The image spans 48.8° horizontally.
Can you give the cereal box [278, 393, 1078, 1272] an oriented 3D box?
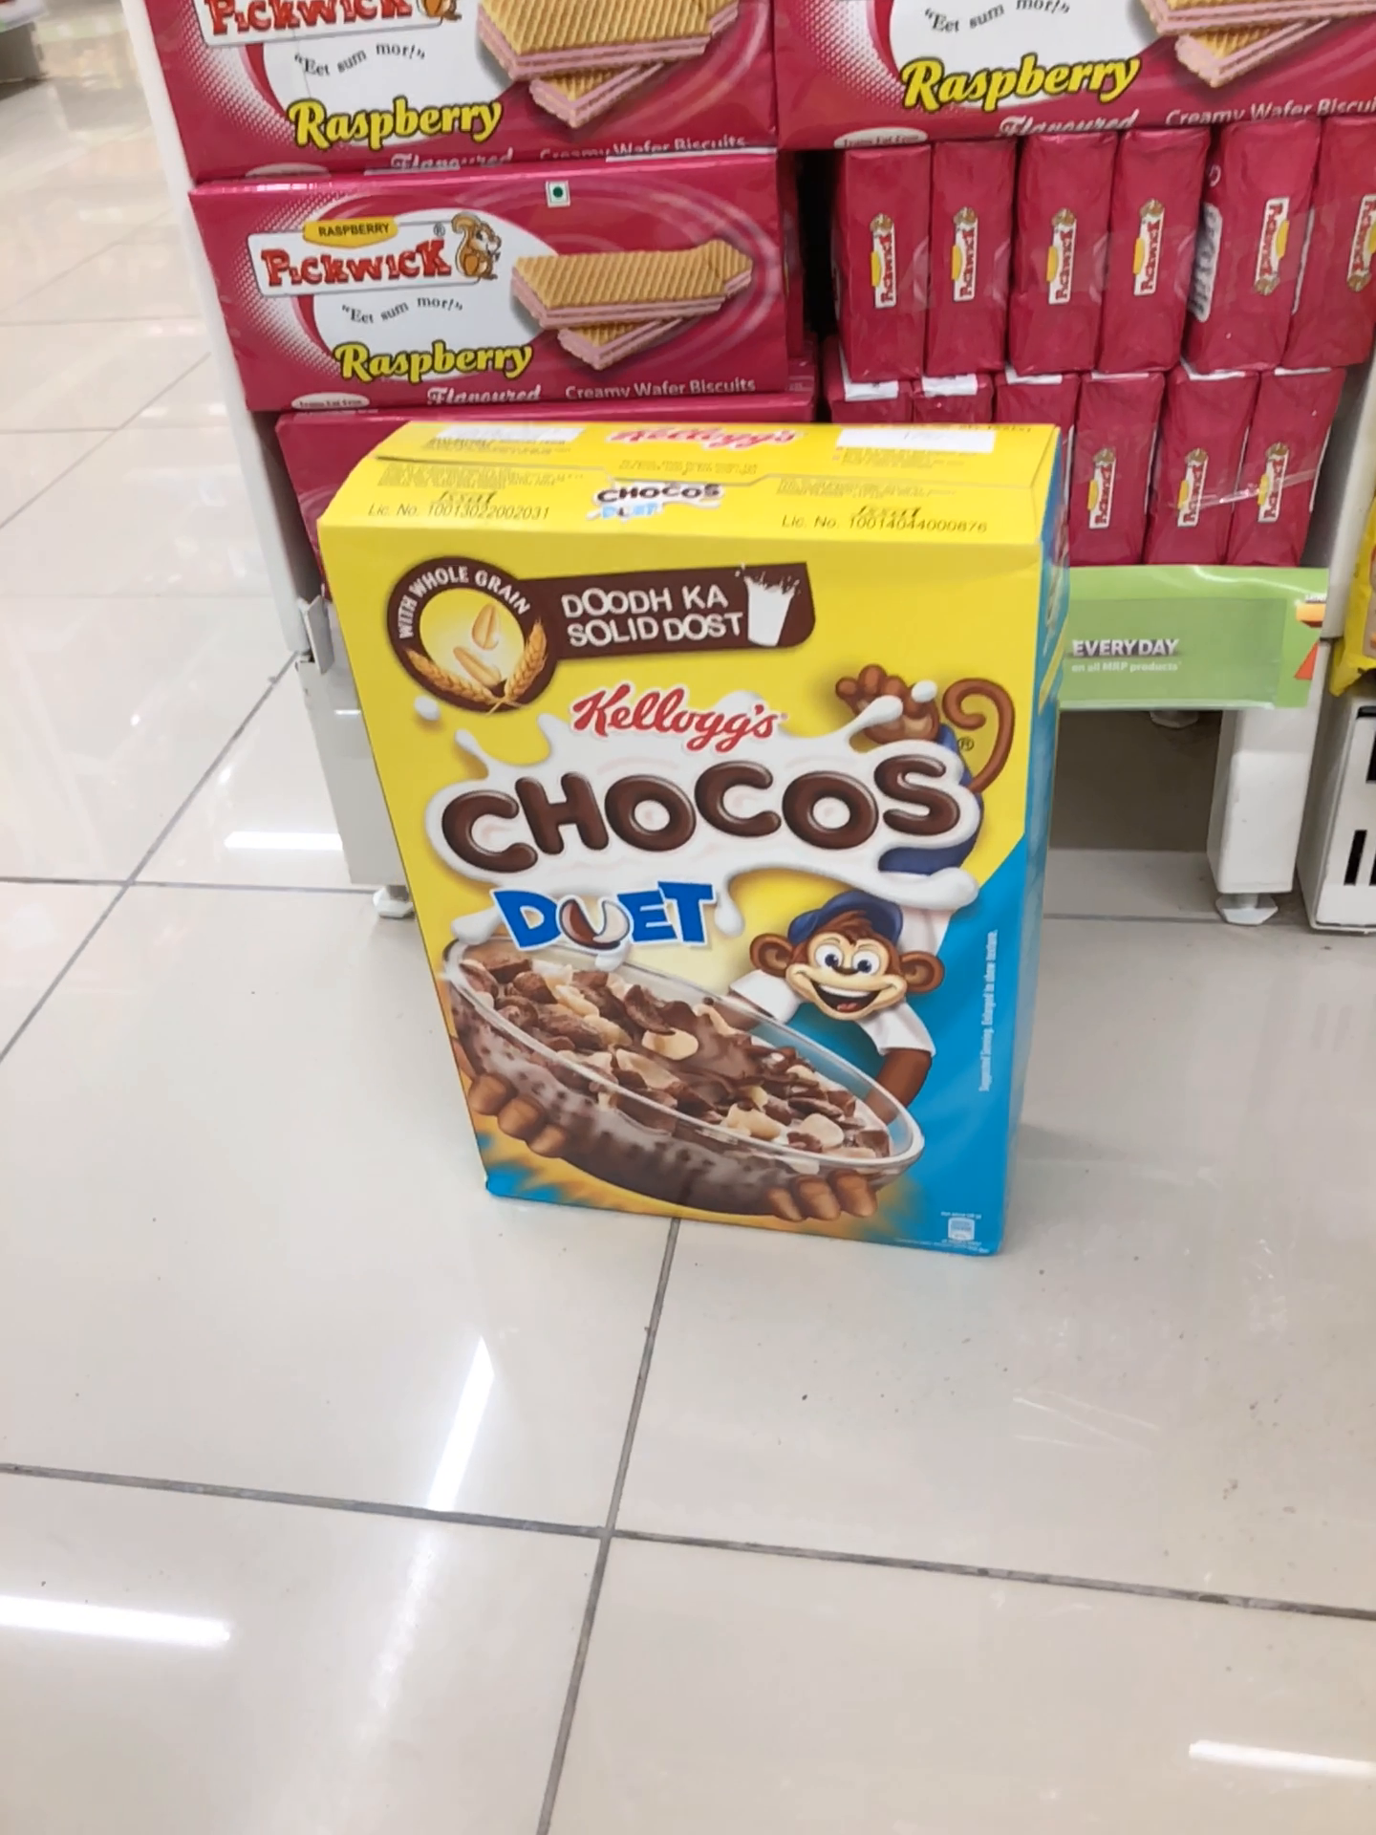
[{"bbox_3d":[0.010,-0.016,0.458,0.190,0.258,0.070,4,39,13],"label":"cereal box"}]
